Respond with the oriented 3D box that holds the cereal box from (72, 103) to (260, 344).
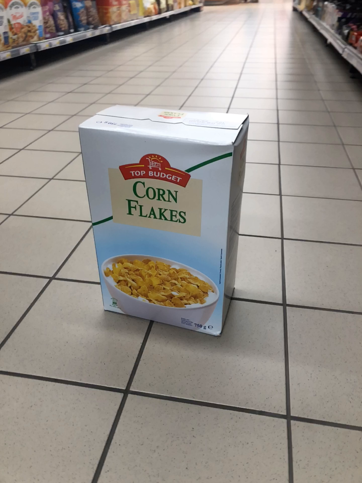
[{"bbox_3d":[-0.014,-0.025,0.562,0.200,0.288,0.121,10,33,15],"label":"cereal box"}]
